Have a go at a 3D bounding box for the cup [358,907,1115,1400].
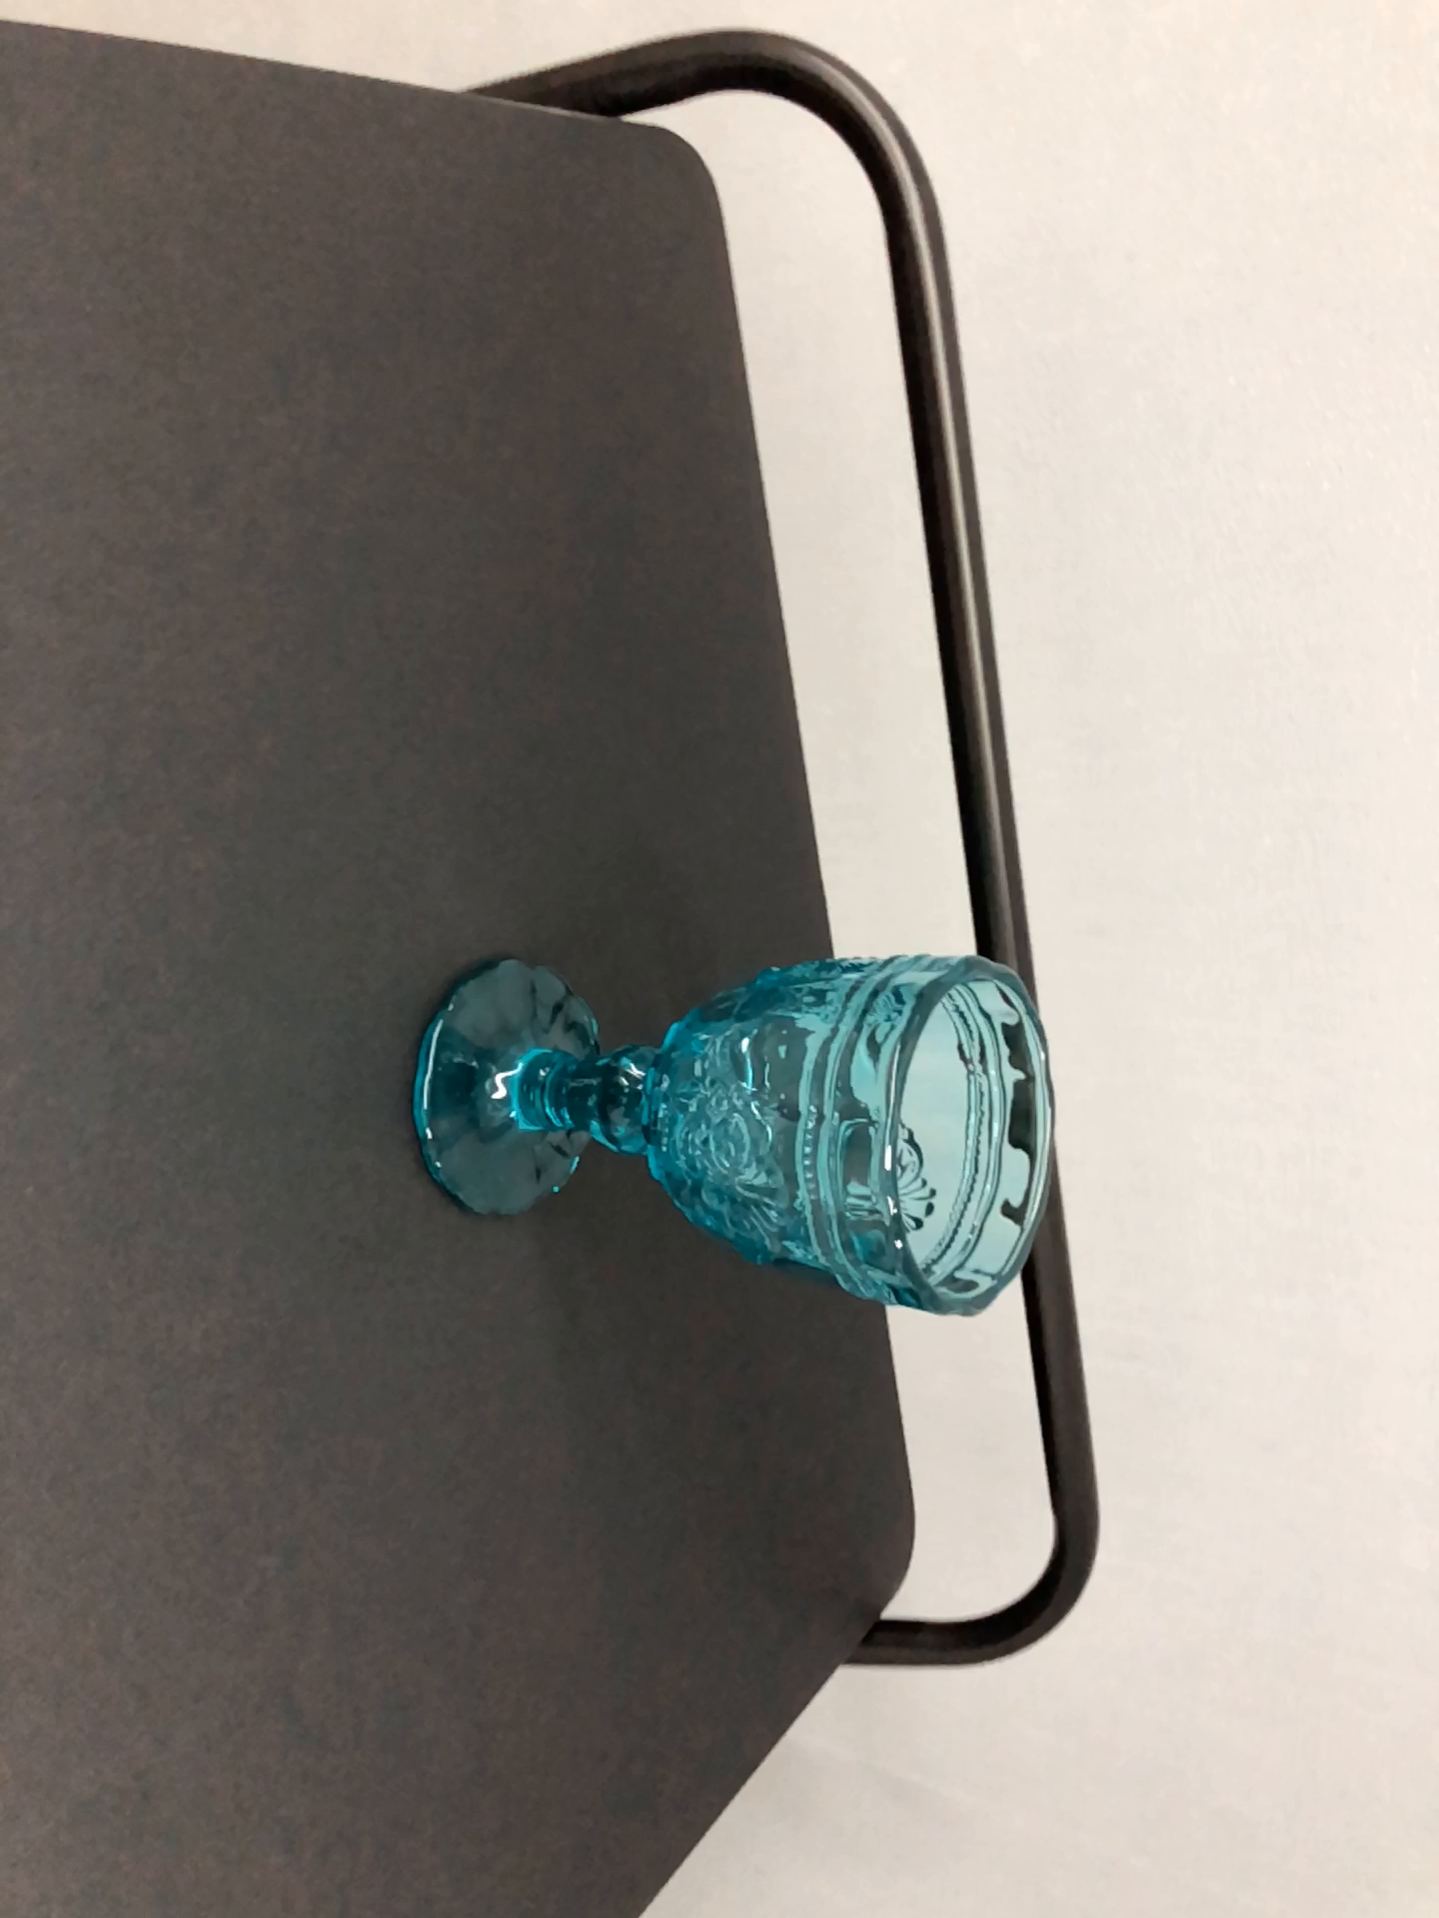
[{"bbox_3d":[0.004,0.040,0.419,0.096,0.164,0.085,-26,112,-51],"label":"cup"}]
